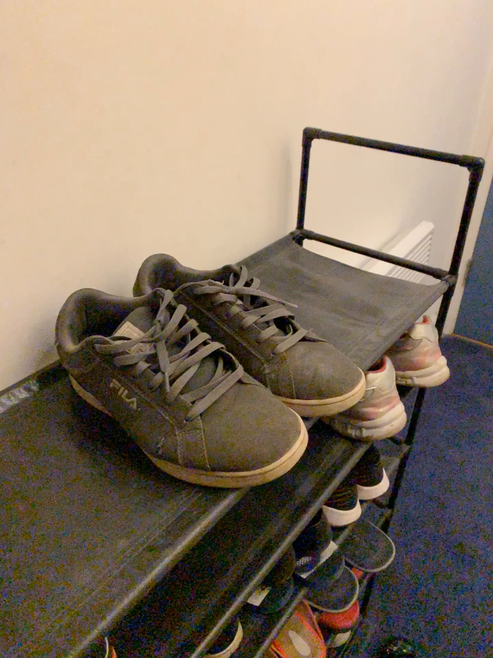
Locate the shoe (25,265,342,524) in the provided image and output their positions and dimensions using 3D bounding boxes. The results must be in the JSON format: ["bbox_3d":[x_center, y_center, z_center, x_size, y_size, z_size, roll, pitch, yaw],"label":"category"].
[{"bbox_3d":[-0.064,0.037,0.463,0.271,0.079,0.121,24,42,33],"label":"shoe"}]

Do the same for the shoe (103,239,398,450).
[{"bbox_3d":[-0.007,-0.003,0.552,0.301,0.079,0.121,24,42,33],"label":"shoe"}]
